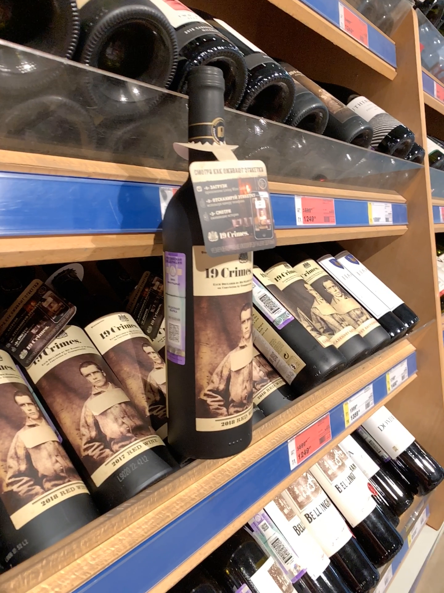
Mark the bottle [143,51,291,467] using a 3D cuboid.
[{"bbox_3d":[-0.006,-0.027,0.388,0.081,0.300,0.087,2,9,0],"label":"bottle"}]
